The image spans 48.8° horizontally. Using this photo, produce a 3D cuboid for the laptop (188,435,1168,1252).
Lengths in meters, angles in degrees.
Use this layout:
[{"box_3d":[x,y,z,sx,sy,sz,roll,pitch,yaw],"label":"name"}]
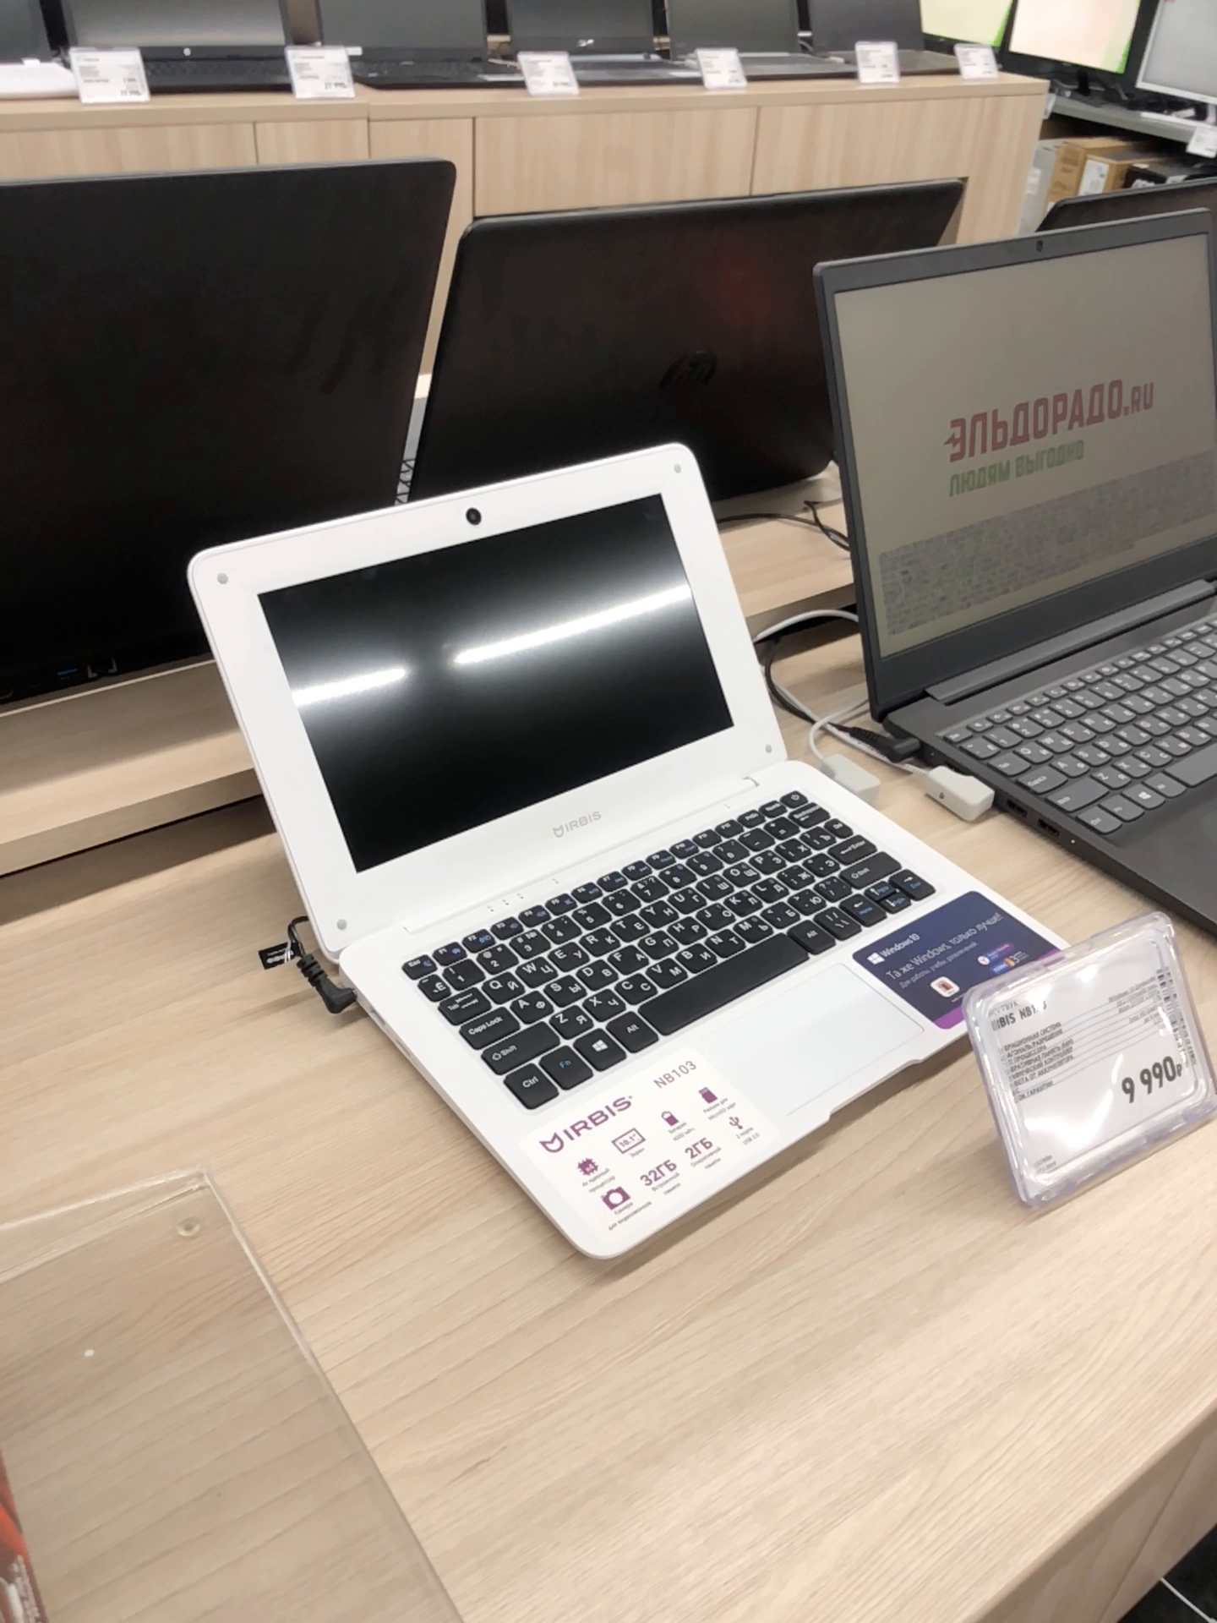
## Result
[{"box_3d":[0.019,-0.026,0.626,0.297,0.144,0.318,-21,44,-32],"label":"laptop"}]
